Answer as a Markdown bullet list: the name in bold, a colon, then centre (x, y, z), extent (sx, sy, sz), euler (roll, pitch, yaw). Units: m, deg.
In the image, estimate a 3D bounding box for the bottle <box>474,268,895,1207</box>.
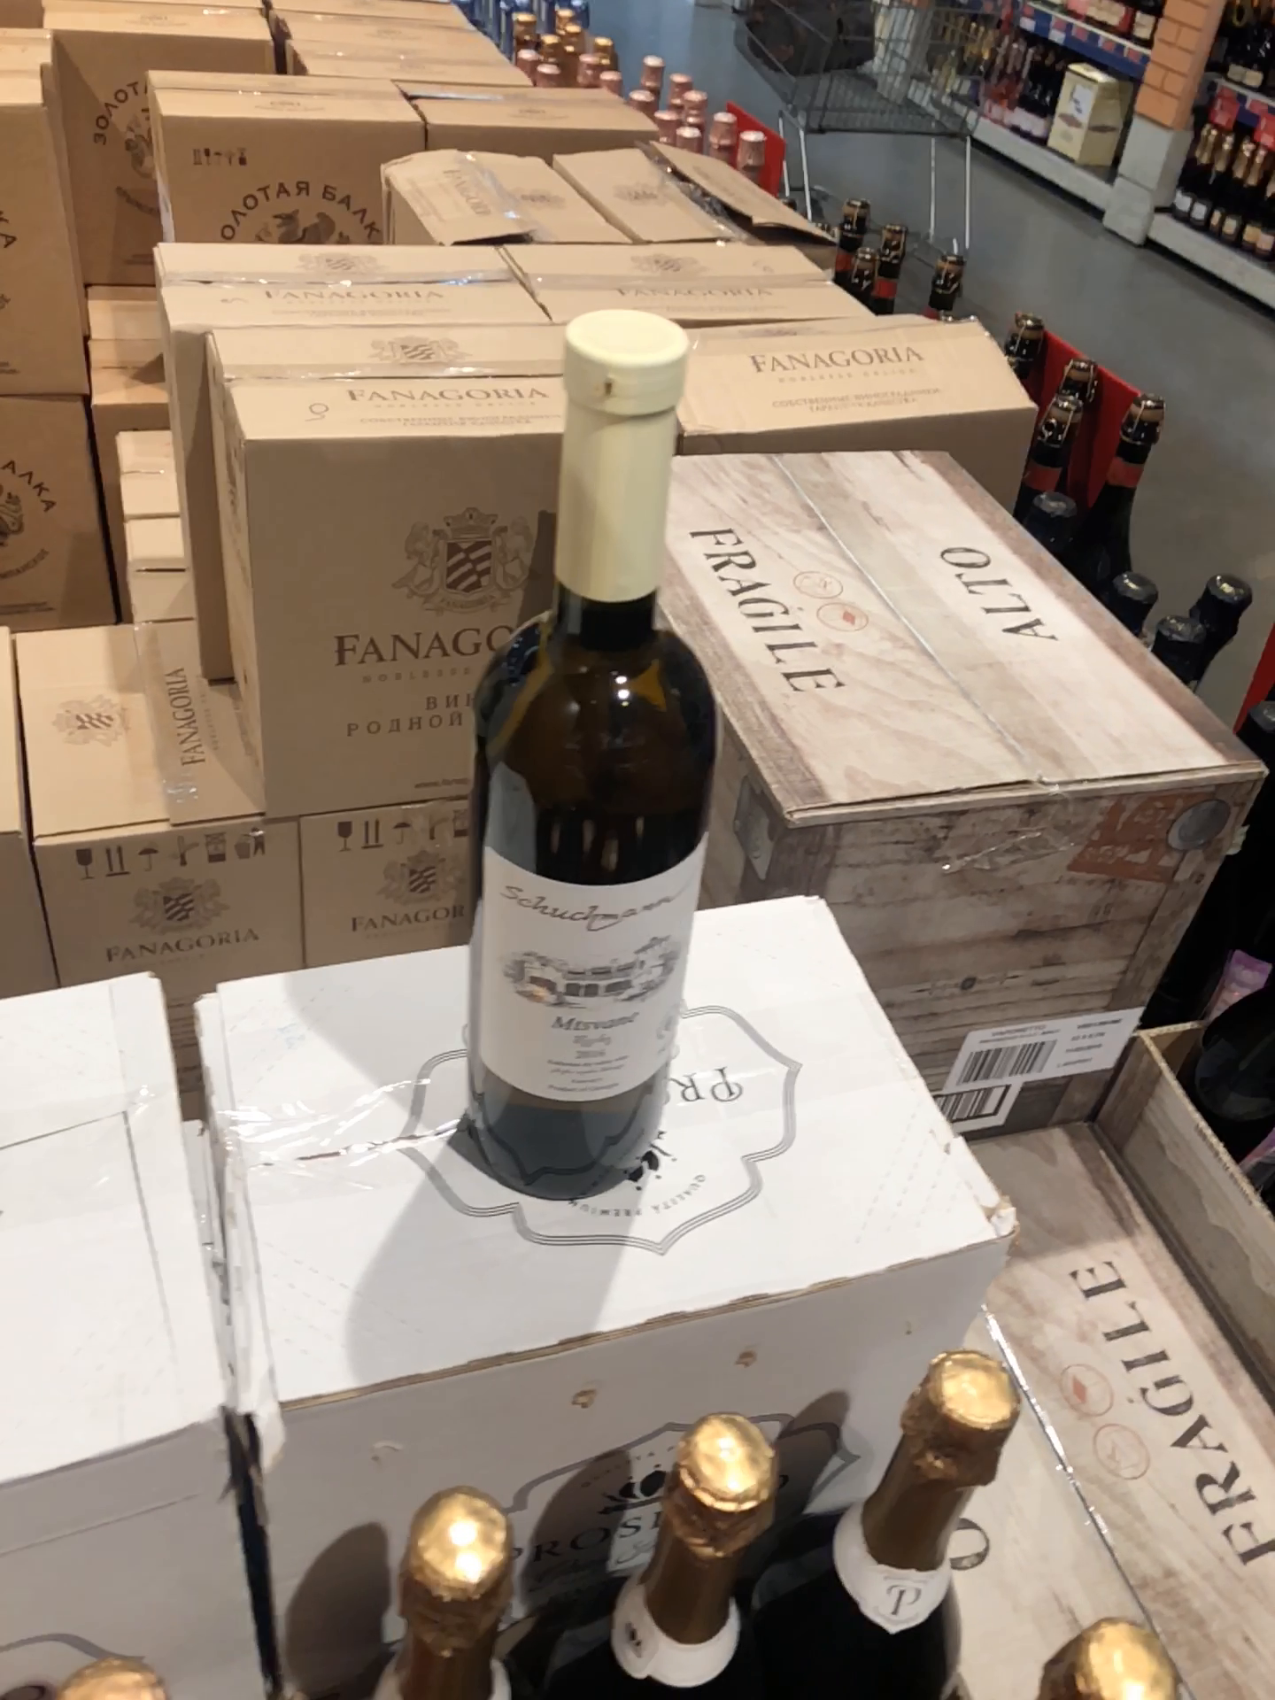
- **bottle**: centre (-0.003, -0.011, 0.420), extent (0.080, 0.288, 0.073), euler (5, 39, -4)
